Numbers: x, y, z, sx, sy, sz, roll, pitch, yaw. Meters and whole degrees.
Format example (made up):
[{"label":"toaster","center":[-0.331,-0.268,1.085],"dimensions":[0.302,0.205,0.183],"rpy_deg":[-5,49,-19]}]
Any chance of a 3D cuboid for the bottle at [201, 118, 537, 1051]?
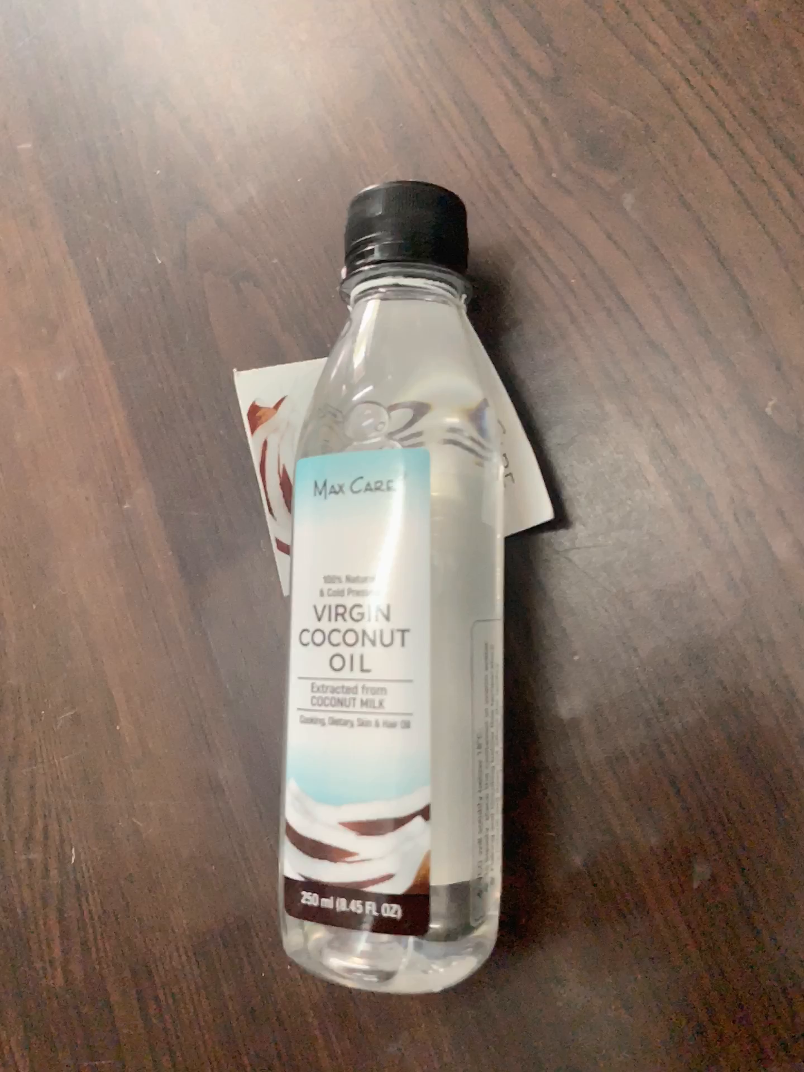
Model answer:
[{"label":"bottle","center":[-0.002,0.006,0.184],"dimensions":[0.050,0.050,0.170],"rpy_deg":[-1,82,22]}]
